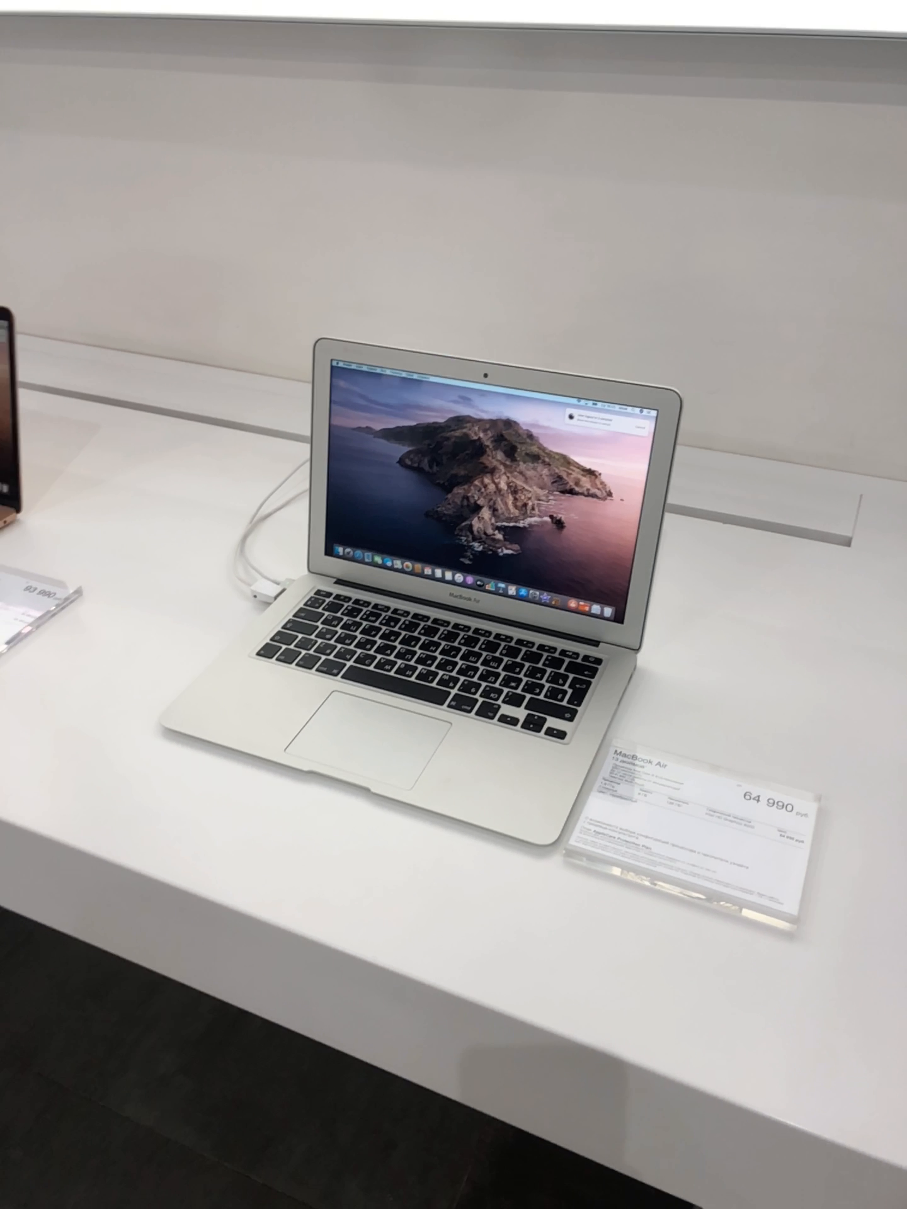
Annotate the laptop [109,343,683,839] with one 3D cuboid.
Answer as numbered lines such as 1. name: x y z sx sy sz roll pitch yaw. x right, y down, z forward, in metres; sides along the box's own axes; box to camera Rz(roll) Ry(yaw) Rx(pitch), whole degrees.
1. laptop: -0.026 -0.035 0.753 0.315 0.207 0.271 13 36 20
